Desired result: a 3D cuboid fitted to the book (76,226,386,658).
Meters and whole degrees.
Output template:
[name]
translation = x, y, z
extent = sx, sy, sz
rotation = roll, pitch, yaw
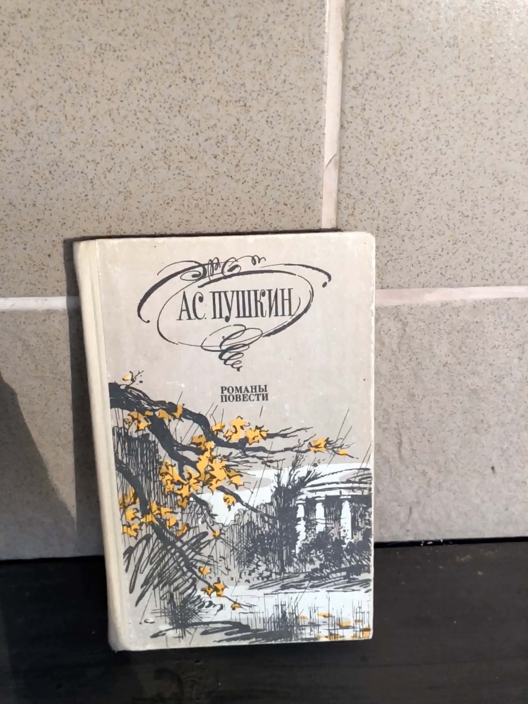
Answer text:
[book]
translation = -0.012, 0.043, 0.278
extent = 0.125, 0.197, 0.040
rotation = -1, 13, -2
